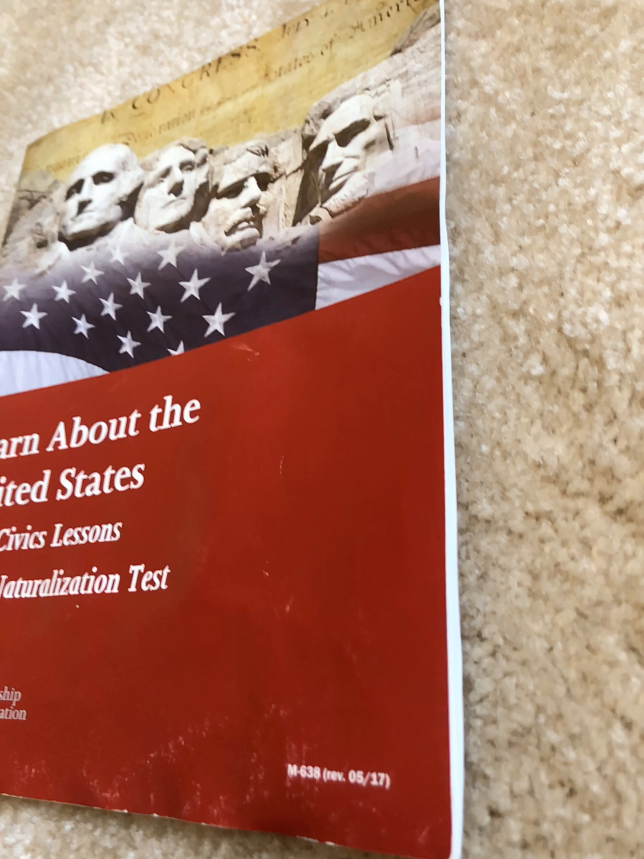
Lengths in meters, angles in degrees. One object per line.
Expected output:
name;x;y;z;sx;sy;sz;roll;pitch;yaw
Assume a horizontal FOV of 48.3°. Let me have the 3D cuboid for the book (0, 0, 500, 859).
book;-0.051;-0.021;0.247;0.208;0.028;0.274;-11;63;30
